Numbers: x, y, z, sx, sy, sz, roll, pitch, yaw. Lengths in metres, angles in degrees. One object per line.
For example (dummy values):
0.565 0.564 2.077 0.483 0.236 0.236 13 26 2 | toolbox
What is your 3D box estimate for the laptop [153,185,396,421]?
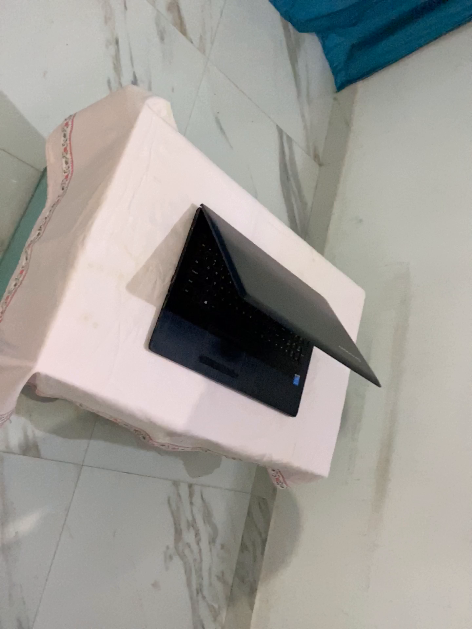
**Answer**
0.092 0.004 0.849 0.370 0.176 0.258 31 68 -38 | laptop
